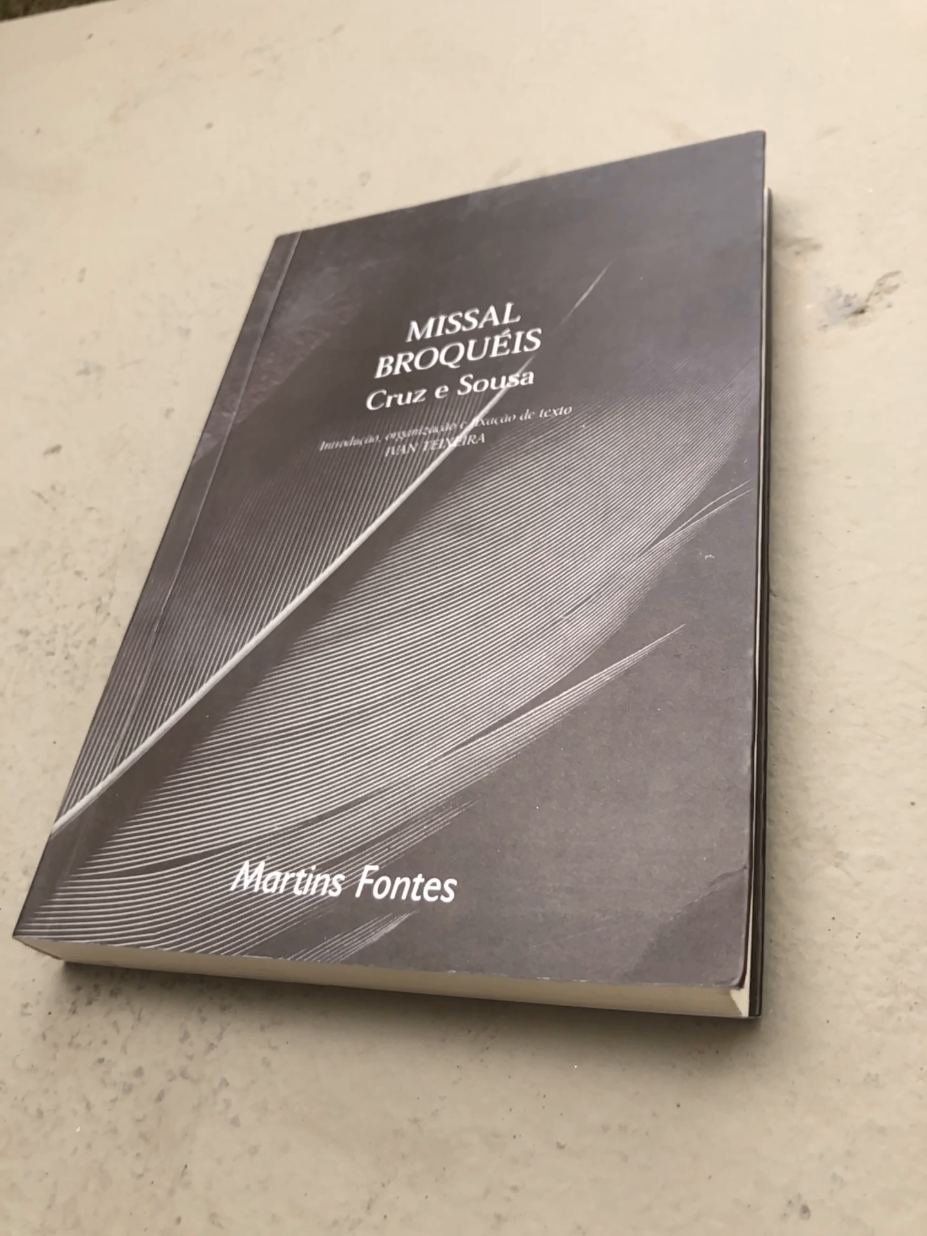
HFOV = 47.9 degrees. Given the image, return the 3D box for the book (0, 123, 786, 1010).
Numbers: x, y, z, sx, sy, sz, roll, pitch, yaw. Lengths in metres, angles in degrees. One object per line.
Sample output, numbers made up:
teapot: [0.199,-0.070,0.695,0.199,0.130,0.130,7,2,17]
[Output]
book: [-0.005,-0.022,0.202,0.128,0.016,0.174,-3,56,22]
